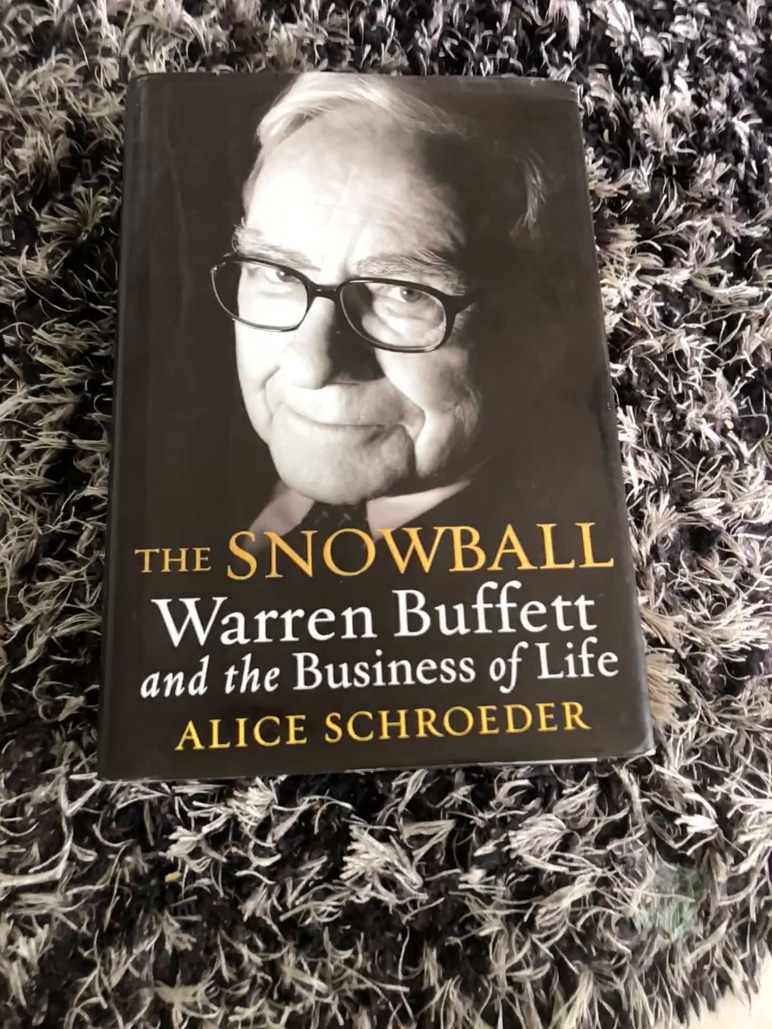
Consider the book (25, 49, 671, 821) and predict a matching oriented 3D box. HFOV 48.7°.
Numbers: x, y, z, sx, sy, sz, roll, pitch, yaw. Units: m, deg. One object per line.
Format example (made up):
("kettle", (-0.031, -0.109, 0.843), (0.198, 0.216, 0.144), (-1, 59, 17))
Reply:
("book", (-0.016, -0.034, 0.298), (0.180, 0.060, 0.250), (-1, 75, -6))
